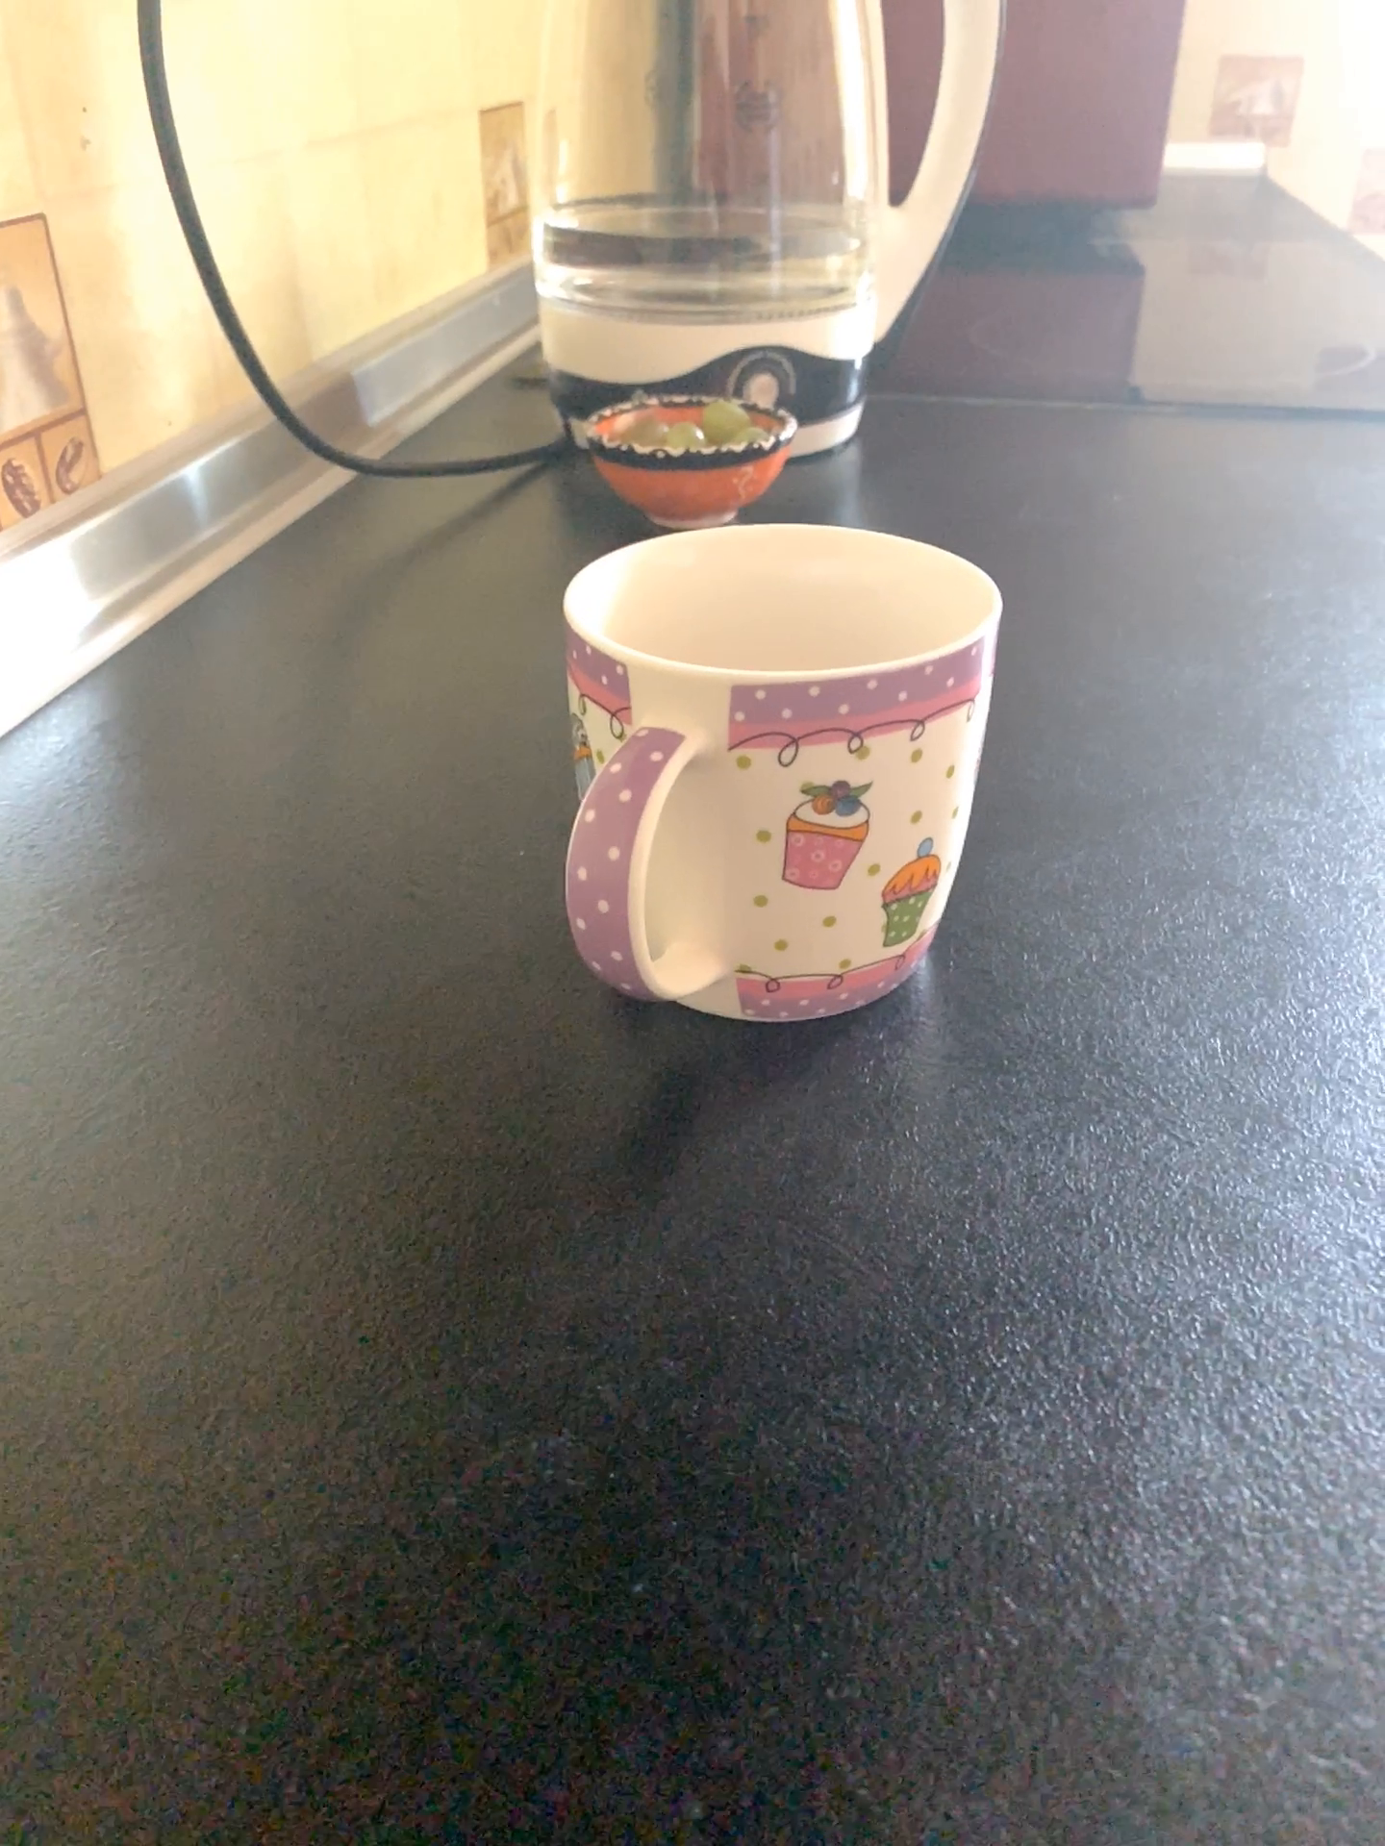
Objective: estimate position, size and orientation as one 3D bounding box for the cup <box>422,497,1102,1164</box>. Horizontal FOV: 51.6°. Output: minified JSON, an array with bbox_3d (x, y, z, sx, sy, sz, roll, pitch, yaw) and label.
[{"bbox_3d":[0.017,-0.027,0.290,0.080,0.080,0.110,21,37,30],"label":"cup"}]
